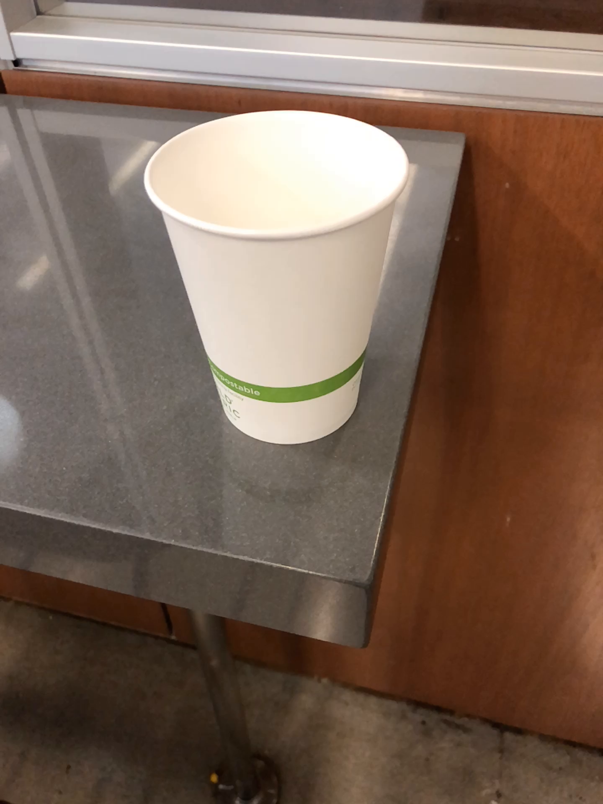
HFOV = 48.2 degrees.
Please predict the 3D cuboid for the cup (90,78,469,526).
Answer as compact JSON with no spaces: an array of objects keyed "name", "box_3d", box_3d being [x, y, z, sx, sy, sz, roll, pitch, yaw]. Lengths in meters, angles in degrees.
[{"name":"cup","box_3d":[-0.008,-0.037,0.251,0.090,0.119,0.080,-23,48,-21]}]
